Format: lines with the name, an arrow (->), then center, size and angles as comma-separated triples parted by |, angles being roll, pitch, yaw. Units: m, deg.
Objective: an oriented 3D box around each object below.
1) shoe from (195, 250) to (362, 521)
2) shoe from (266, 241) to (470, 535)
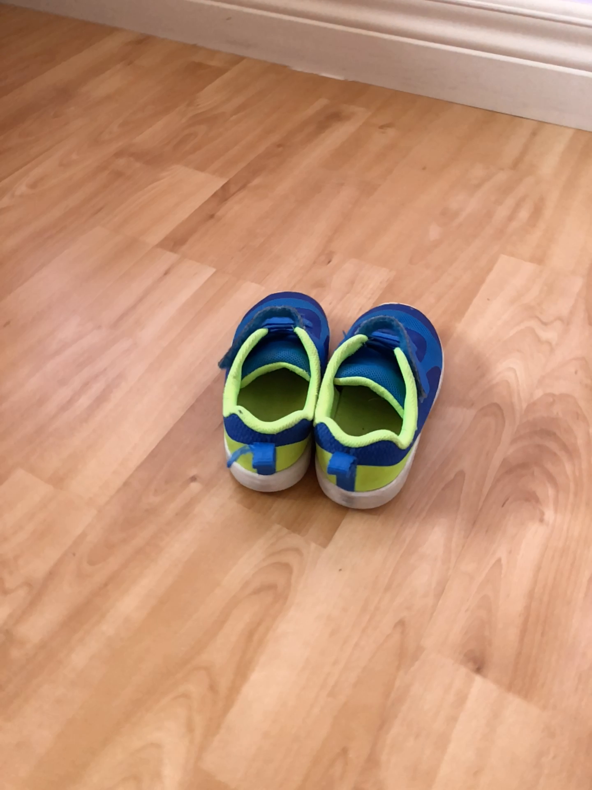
shoe -> -0.003, -0.012, 0.410 | 0.080, 0.070, 0.161 | 3, 49, 5
shoe -> 0.048, -0.012, 0.396 | 0.080, 0.070, 0.161 | 12, 51, 13
